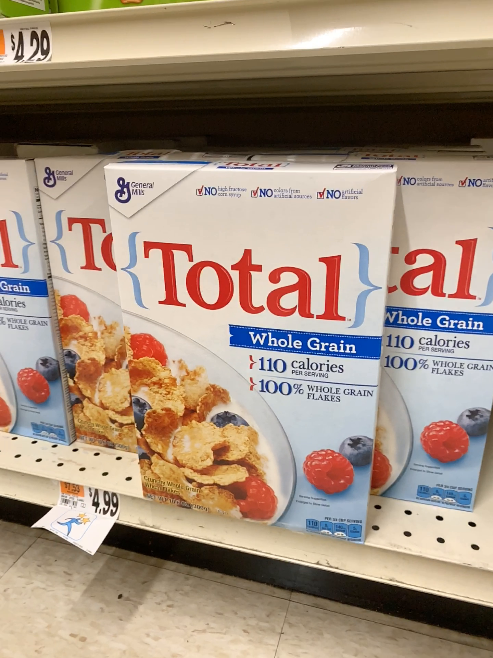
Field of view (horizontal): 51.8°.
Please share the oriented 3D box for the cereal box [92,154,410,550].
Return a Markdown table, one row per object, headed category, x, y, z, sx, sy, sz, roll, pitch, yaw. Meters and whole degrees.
| category | x | y | z | sx | sy | sz | roll | pitch | yaw |
| --- | --- | --- | --- | --- | --- | --- | --- | --- | --- |
| cereal box | 0.003 | 0.018 | 0.380 | 0.200 | 0.279 | 0.050 | 6 | 23 | 17 |
